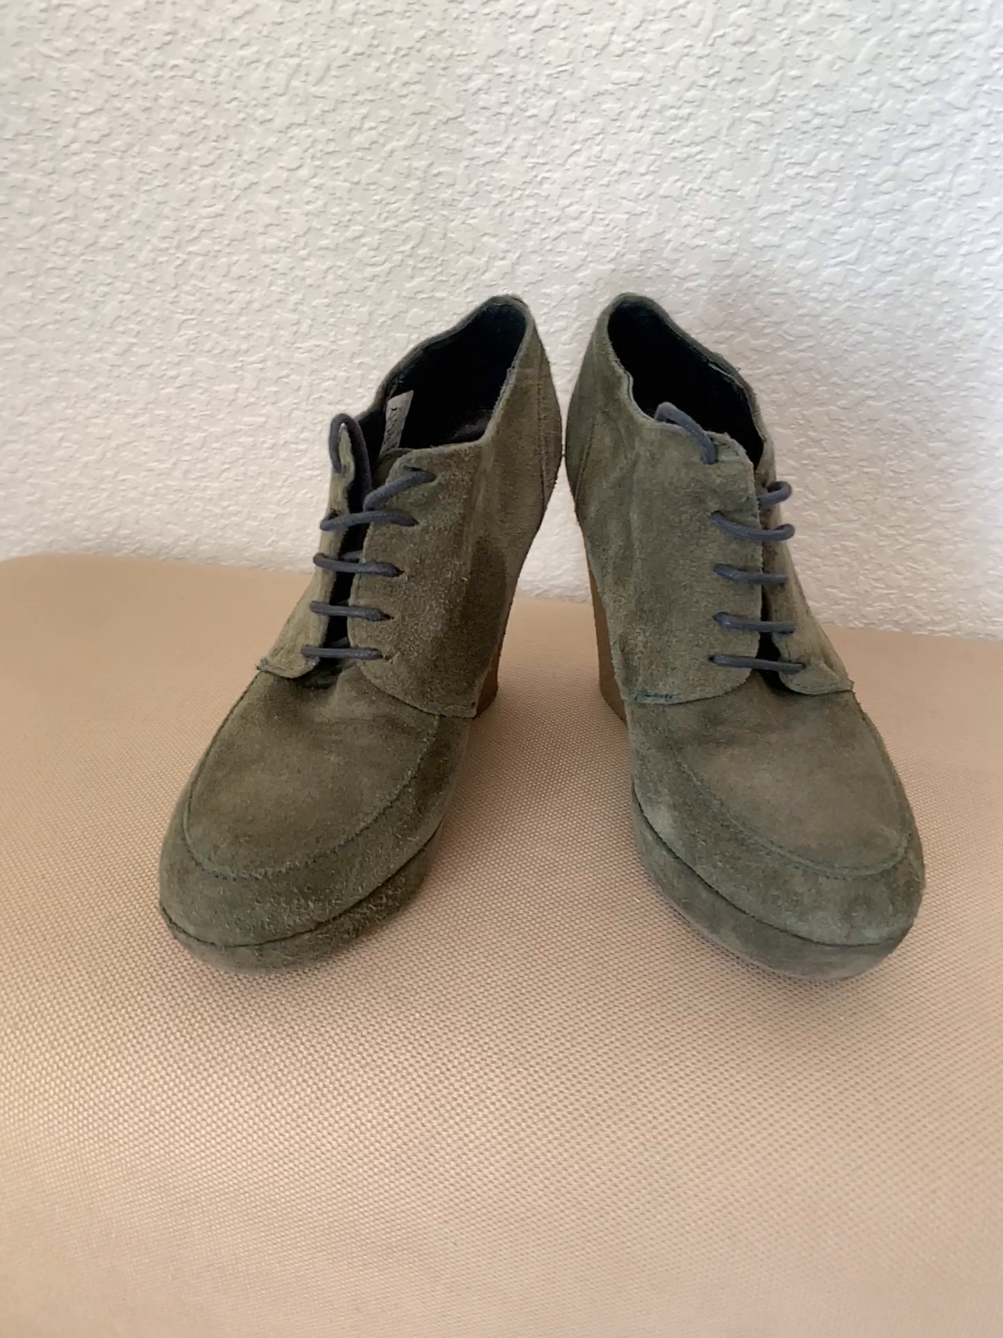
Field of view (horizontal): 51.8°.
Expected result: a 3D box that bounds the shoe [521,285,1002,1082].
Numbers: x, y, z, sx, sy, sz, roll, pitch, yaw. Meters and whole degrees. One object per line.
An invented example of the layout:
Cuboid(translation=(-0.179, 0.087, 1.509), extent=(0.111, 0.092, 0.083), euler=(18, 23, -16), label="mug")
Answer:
Cuboid(translation=(0.073, -0.024, 0.360), extent=(0.080, 0.139, 0.271), euler=(-5, 35, -8), label="shoe")

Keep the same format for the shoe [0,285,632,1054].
Cuboid(translation=(-0.040, -0.023, 0.339), extent=(0.086, 0.136, 0.230), euler=(15, 37, 19), label="shoe")
